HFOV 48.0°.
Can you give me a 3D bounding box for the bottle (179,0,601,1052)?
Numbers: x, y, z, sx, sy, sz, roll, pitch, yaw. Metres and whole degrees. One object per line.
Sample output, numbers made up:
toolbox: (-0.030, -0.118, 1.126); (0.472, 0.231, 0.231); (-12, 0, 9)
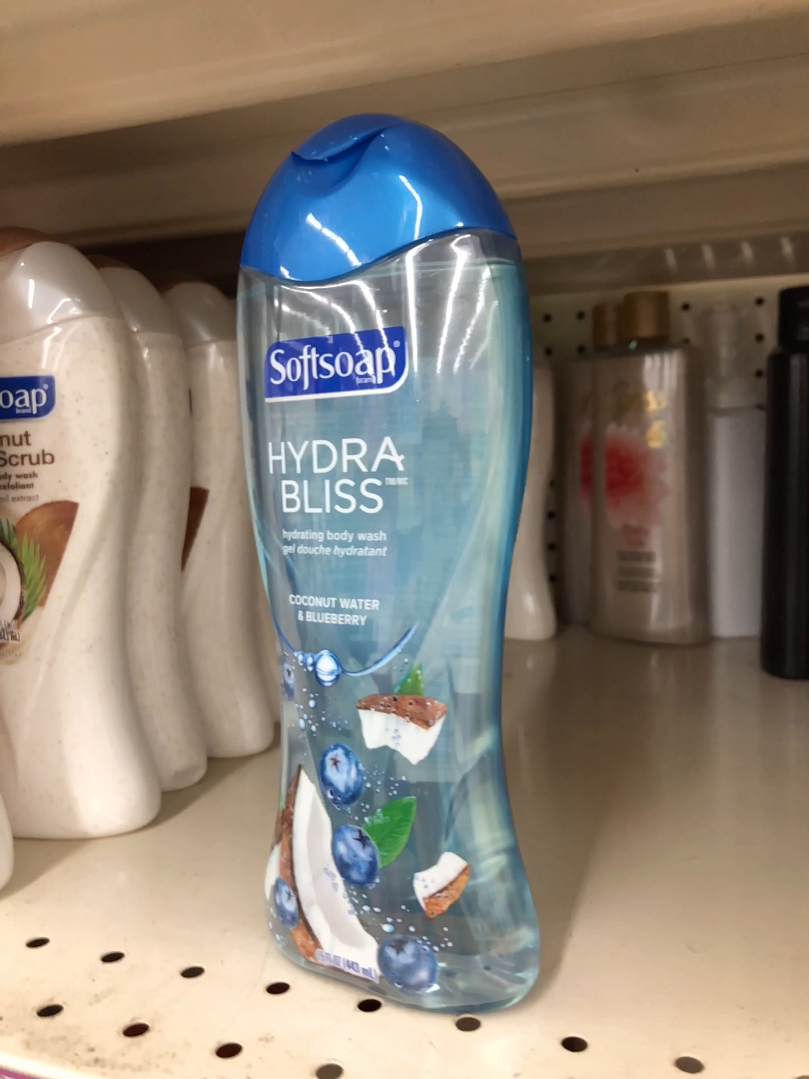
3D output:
bottle: (0.000, 0.000, 0.223); (0.080, 0.211, 0.051); (2, 9, 31)
